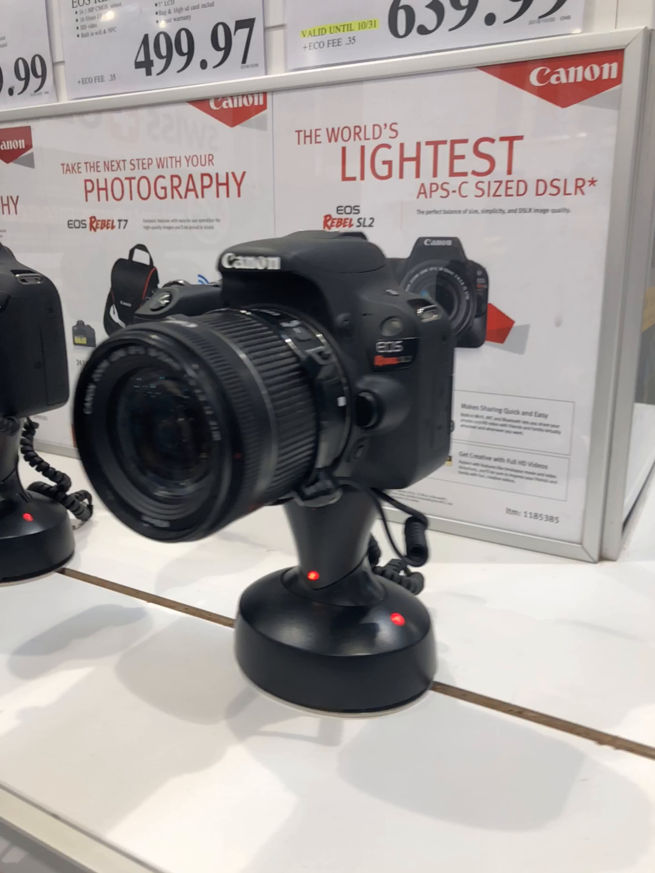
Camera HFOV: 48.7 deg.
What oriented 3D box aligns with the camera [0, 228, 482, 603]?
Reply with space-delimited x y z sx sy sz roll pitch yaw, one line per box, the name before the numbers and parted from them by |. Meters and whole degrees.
camera | -0.033 -0.025 0.252 0.130 0.090 0.120 10 18 32
